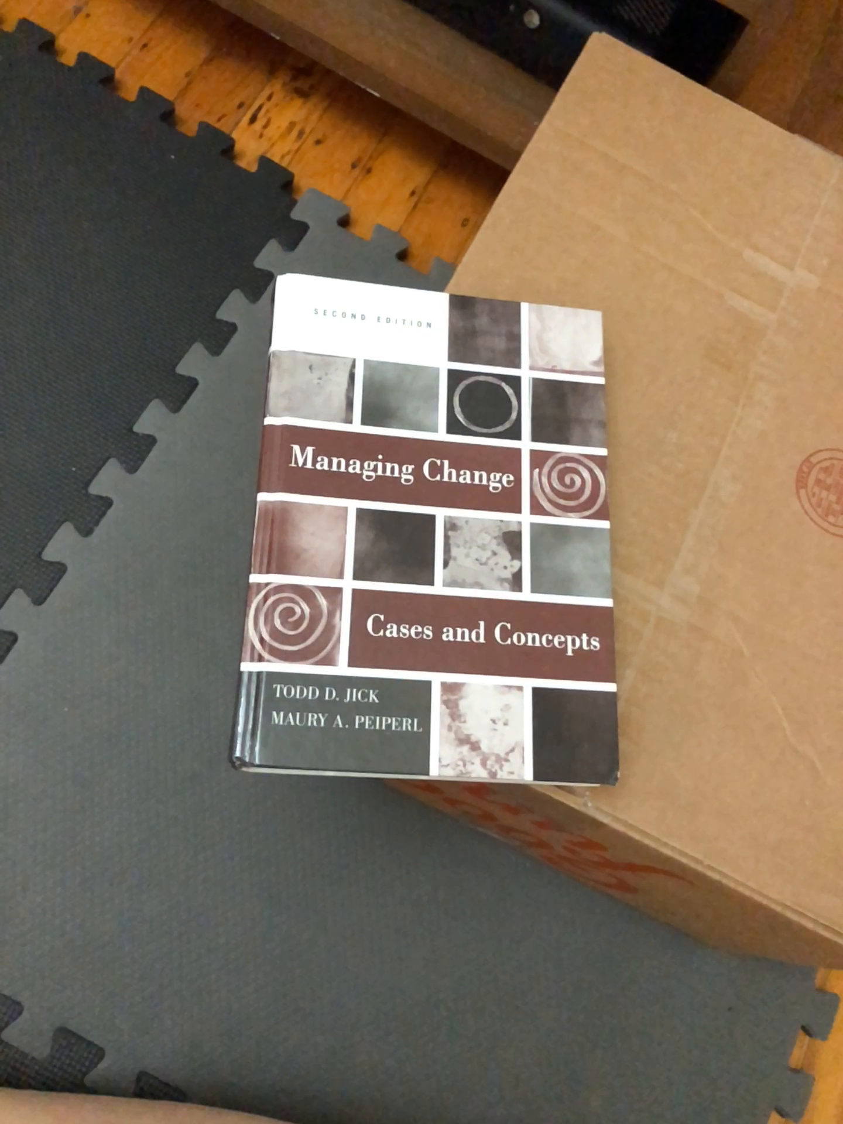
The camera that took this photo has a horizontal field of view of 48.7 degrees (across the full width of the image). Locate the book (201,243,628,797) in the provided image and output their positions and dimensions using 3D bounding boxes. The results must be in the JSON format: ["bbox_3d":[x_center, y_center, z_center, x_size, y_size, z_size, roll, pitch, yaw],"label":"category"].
[{"bbox_3d":[0.001,-0.022,0.439,0.180,0.030,0.250,5,72,-10],"label":"book"}]
